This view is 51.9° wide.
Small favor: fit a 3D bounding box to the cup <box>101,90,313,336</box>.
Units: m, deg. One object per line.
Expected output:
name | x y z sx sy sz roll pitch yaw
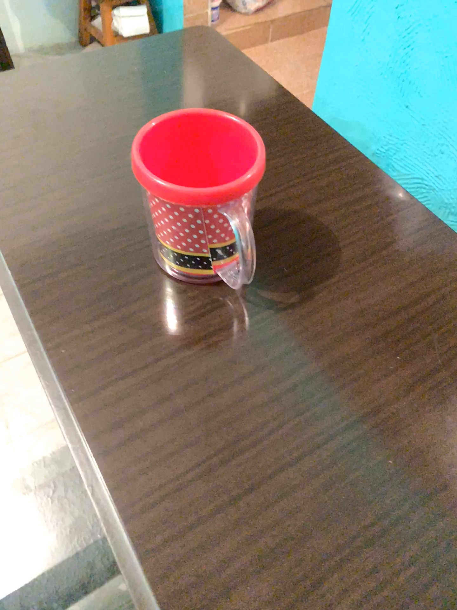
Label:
cup | -0.019 -0.069 0.355 0.090 0.110 0.120 -28 60 -20
